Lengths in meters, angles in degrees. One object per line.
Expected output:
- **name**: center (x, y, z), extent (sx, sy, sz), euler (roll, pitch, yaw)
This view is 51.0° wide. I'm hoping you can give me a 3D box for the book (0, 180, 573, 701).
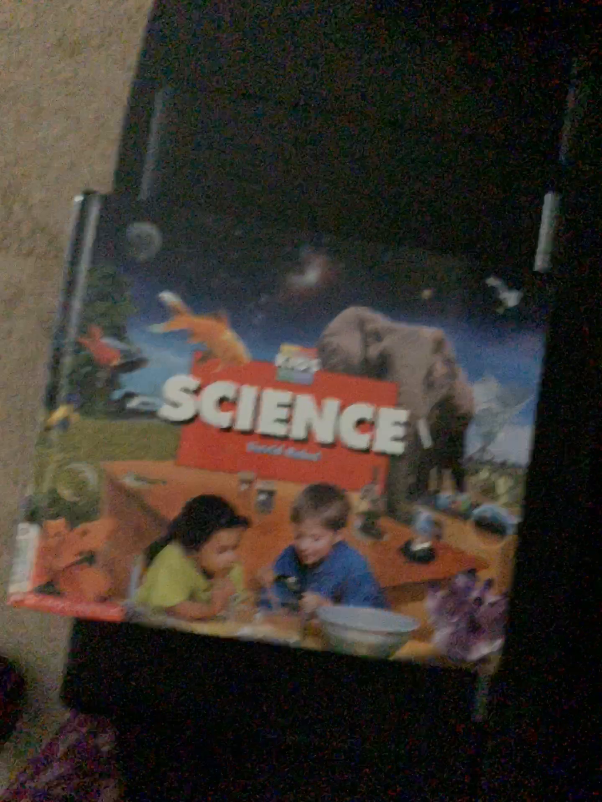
- **book**: center (-0.006, 0.023, 0.356), extent (0.280, 0.030, 0.240), euler (9, 88, -3)
